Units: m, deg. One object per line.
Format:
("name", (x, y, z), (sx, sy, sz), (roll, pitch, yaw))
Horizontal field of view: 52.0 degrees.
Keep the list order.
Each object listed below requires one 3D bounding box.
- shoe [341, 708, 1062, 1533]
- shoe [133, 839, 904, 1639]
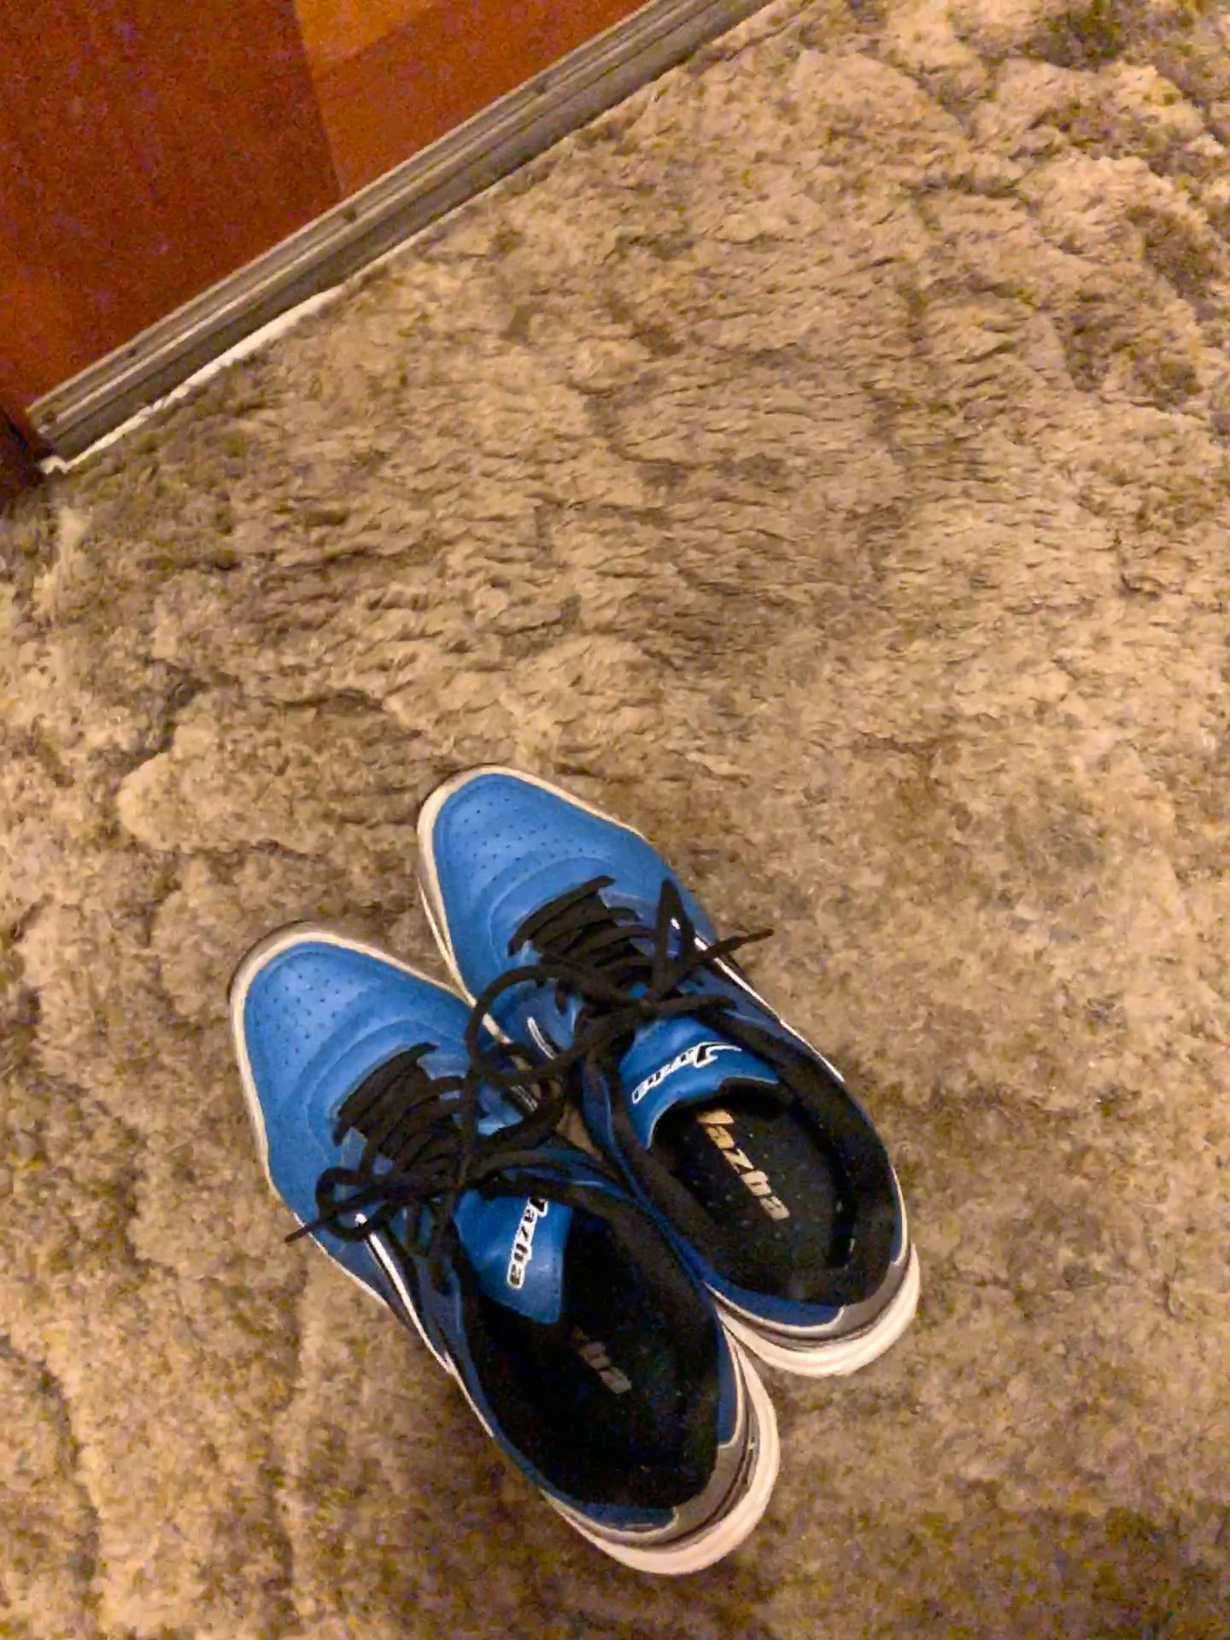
("shoe", (0.022, 0.110, 0.497), (0.100, 0.119, 0.281), (-35, 70, -13))
("shoe", (-0.039, 0.154, 0.462), (0.100, 0.119, 0.271), (-39, 71, -14))
